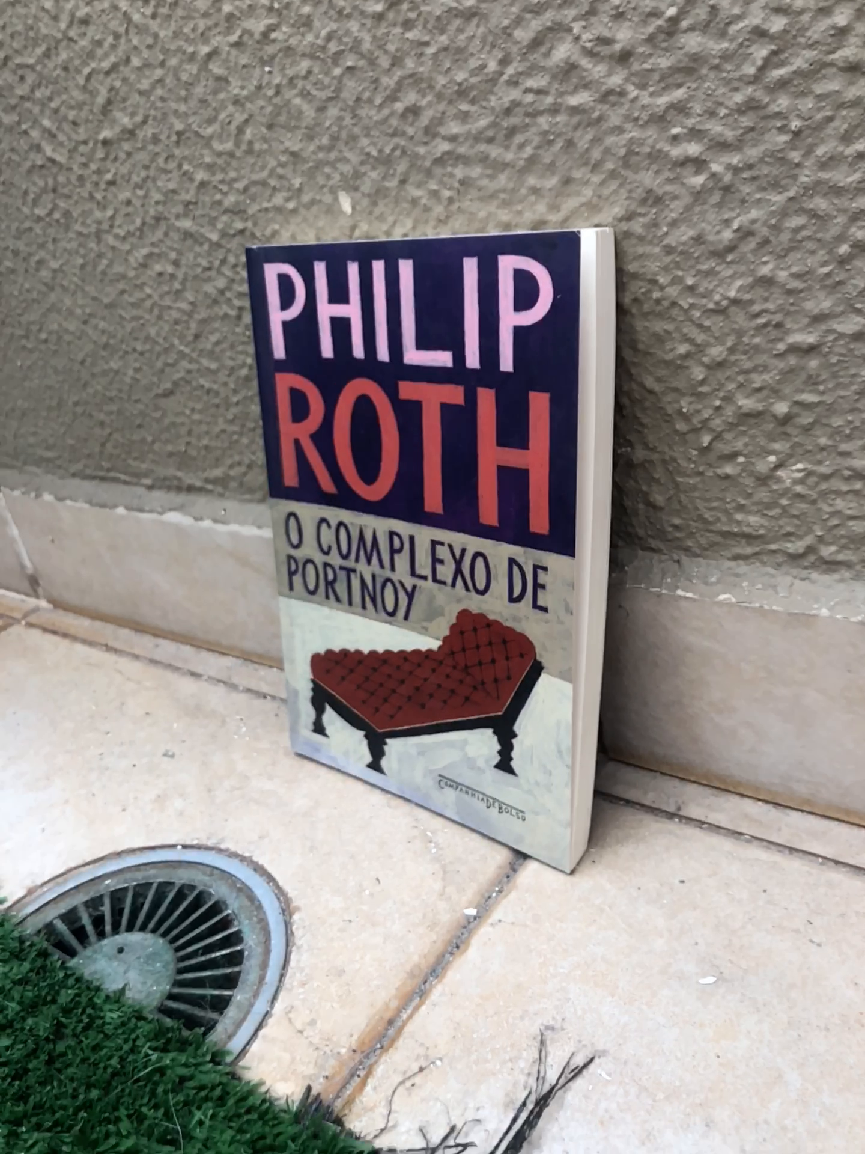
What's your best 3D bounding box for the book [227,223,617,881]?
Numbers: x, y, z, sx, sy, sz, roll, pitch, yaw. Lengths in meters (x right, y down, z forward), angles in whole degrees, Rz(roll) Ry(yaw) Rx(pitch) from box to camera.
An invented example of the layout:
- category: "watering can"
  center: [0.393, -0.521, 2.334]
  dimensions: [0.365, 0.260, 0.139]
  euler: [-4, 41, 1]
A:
- category: "book"
  center: [-0.004, -0.011, 0.299]
  dimensions: [0.126, 0.179, 0.023]
  euler: [13, 24, 39]
